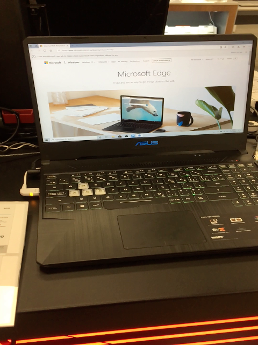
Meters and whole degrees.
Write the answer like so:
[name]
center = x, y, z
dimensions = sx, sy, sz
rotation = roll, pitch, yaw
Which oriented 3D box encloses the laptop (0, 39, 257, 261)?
[laptop]
center = 0.051, -0.060, 0.511
dimensions = 0.397, 0.209, 0.313
rotation = -4, 37, -7
